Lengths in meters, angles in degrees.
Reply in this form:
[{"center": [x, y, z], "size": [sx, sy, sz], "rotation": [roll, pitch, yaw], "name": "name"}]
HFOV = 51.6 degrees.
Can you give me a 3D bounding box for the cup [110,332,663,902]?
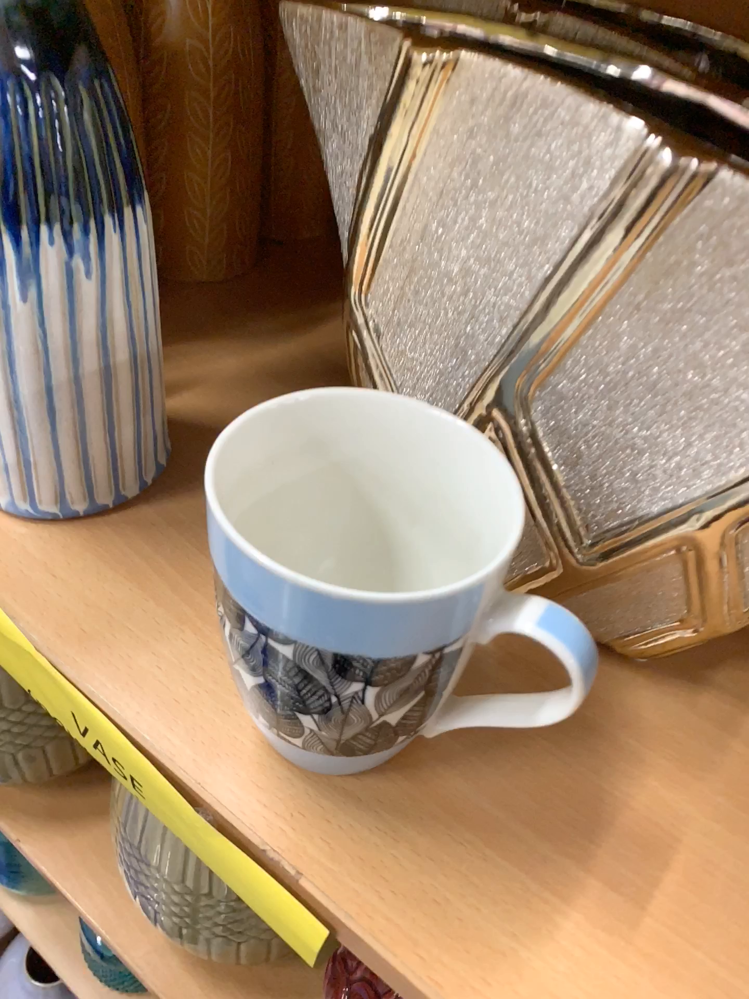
[{"center": [0.003, 0.027, 0.210], "size": [0.110, 0.090, 0.080], "rotation": [21, 39, 13], "name": "cup"}]
